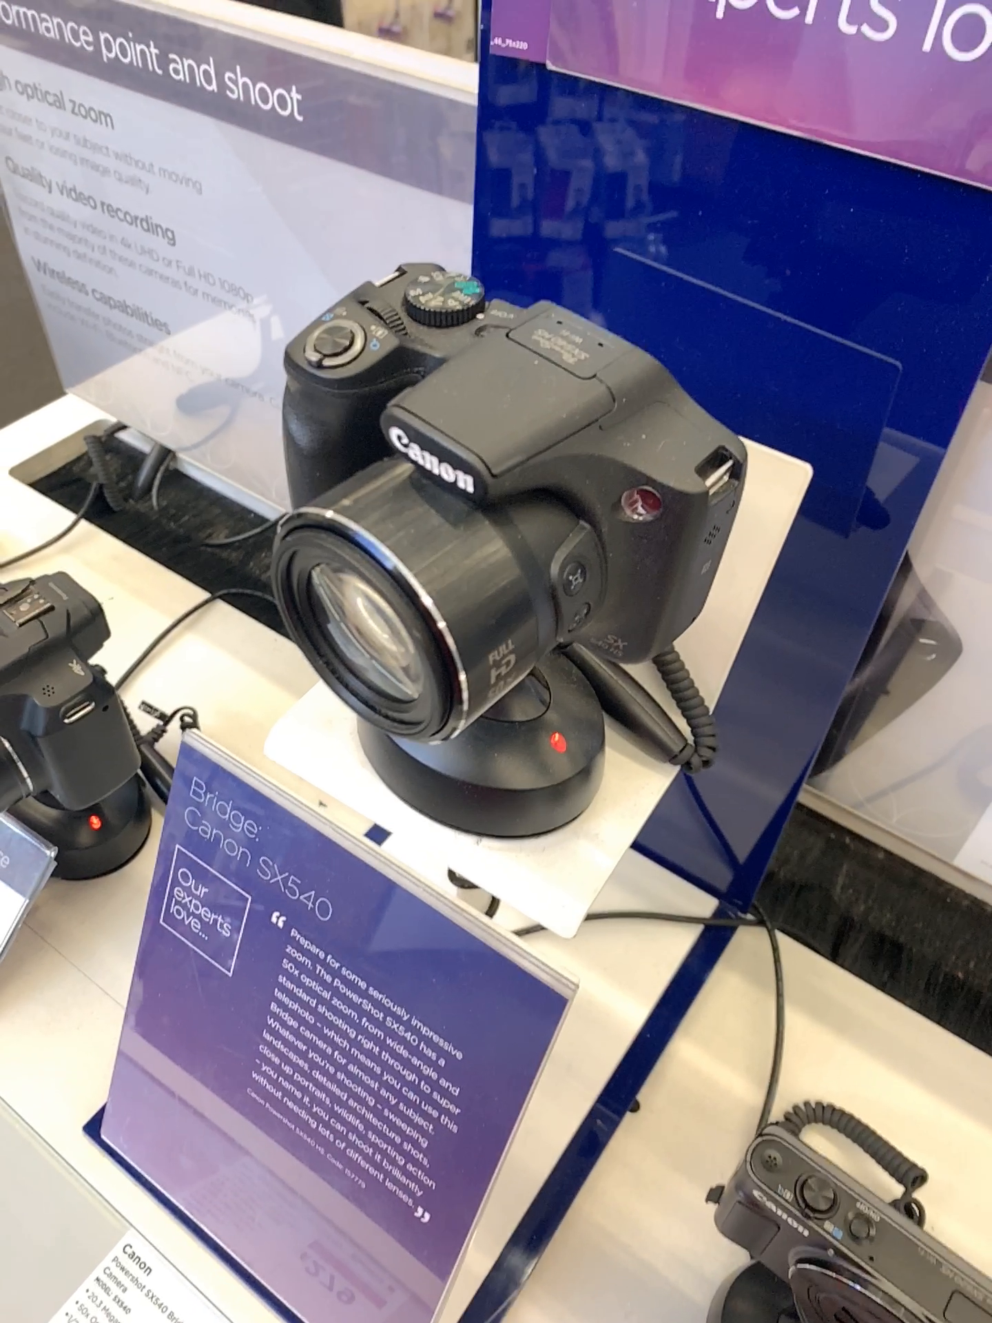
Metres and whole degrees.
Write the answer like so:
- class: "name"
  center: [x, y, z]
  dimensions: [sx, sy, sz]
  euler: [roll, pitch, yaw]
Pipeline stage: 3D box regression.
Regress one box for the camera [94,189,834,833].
- class: "camera"
  center: [-0.007, -0.047, 0.251]
  dimensions: [0.120, 0.069, 0.111]
  euler: [34, 54, 26]
